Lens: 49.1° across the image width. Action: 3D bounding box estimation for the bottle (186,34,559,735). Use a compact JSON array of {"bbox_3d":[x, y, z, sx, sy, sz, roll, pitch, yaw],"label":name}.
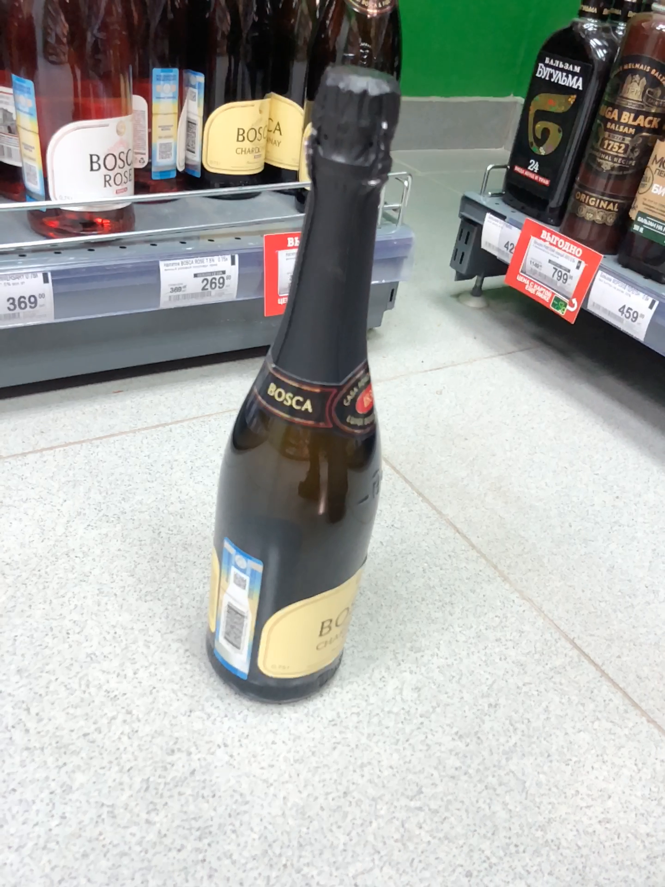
[{"bbox_3d":[0.002,-0.013,0.351,0.090,0.311,0.100,25,37,21],"label":"bottle"}]
